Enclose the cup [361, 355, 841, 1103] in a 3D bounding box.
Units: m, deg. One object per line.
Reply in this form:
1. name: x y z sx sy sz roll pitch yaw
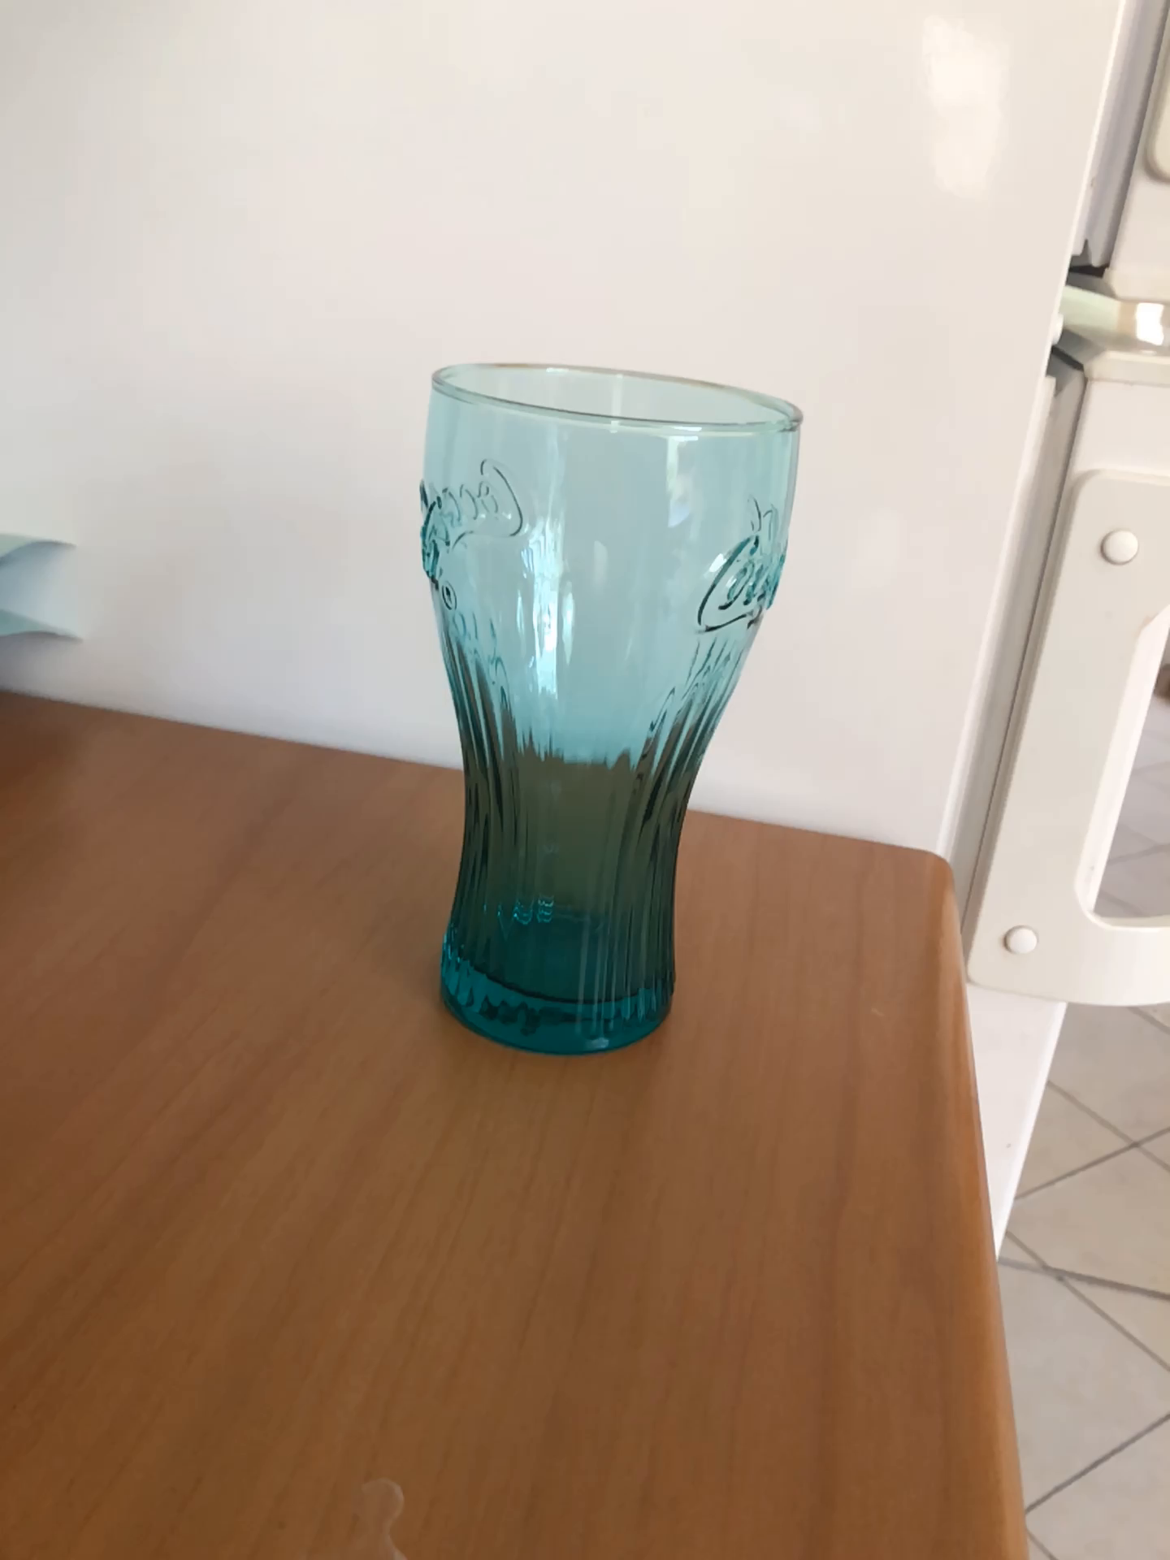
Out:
1. cup: 0.001 -0.015 0.291 0.080 0.139 0.080 5 22 -2
